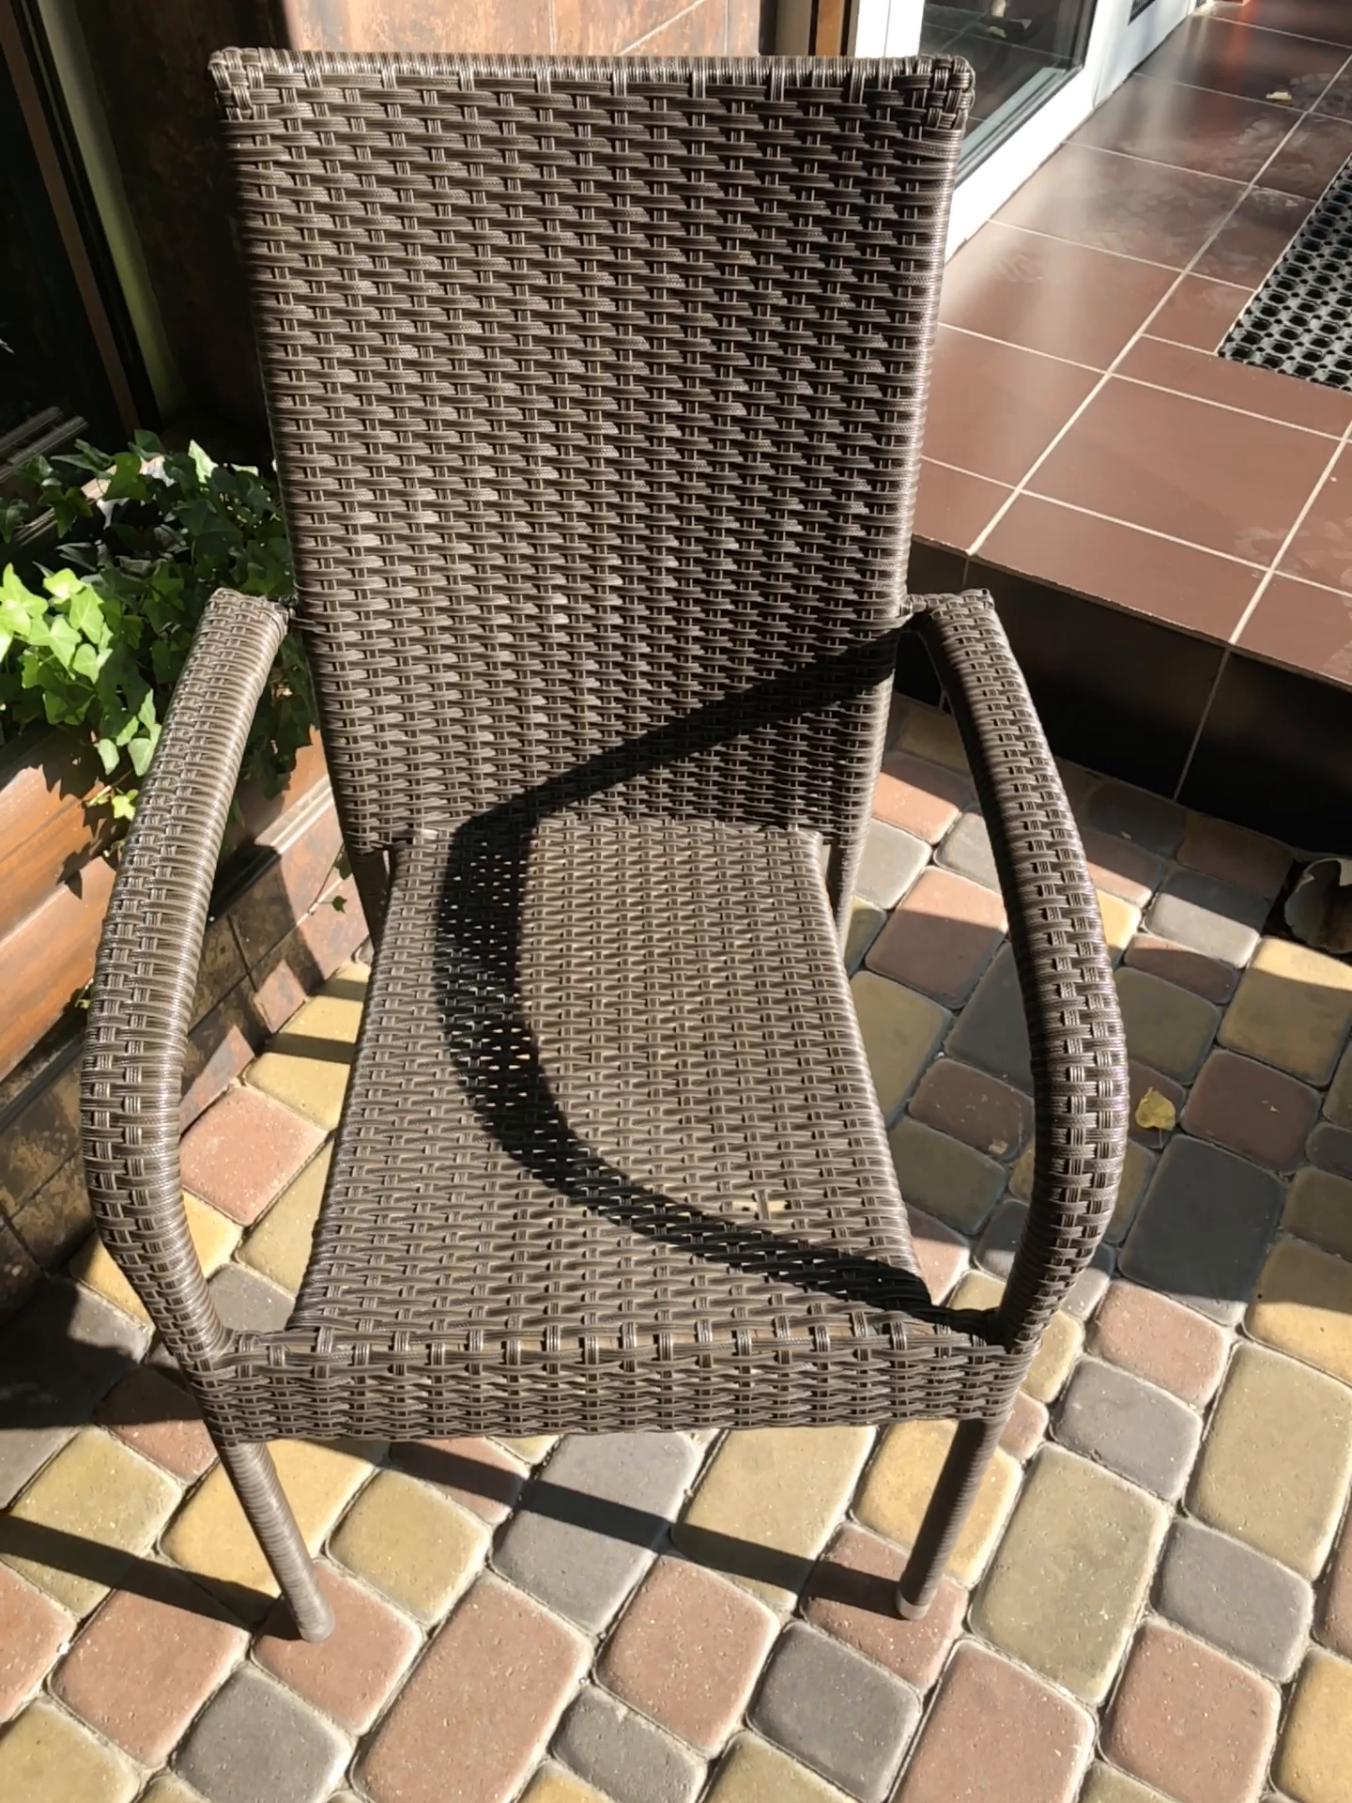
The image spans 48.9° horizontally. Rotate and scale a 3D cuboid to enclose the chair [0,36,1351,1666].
[{"bbox_3d":[-0.056,0.026,1.049,0.610,0.907,0.723,0,50,-1],"label":"chair"}]
